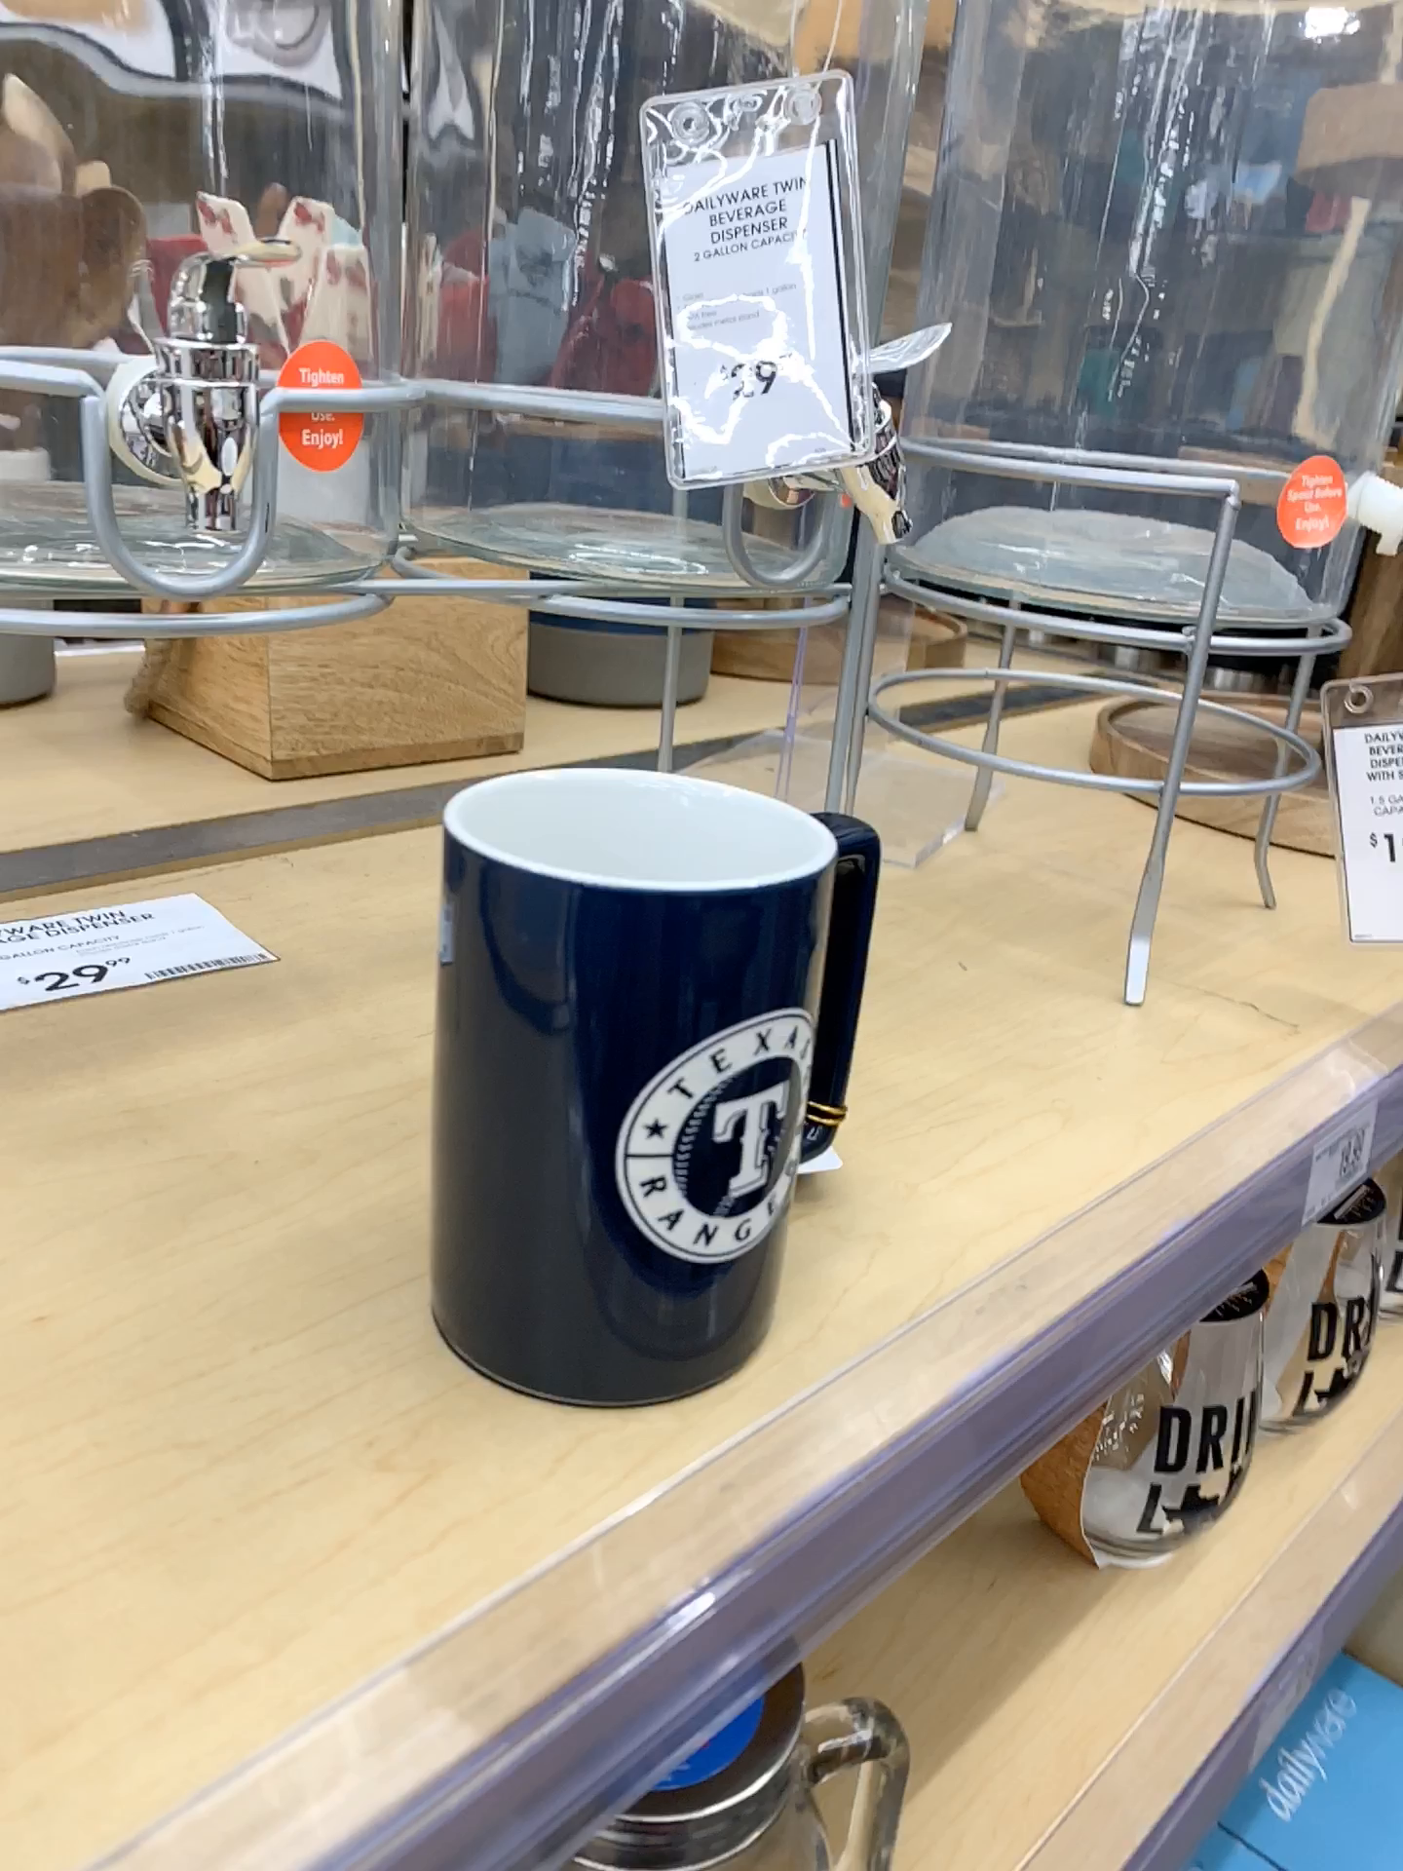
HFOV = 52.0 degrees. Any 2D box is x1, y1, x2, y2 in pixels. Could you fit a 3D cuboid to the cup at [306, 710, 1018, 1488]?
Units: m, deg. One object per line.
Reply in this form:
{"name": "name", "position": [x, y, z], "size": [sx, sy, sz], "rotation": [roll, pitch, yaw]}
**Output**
{"name": "cup", "position": [-0.010, 0.024, 0.334], "size": [0.097, 0.121, 0.123], "rotation": [23, 27, 38]}
